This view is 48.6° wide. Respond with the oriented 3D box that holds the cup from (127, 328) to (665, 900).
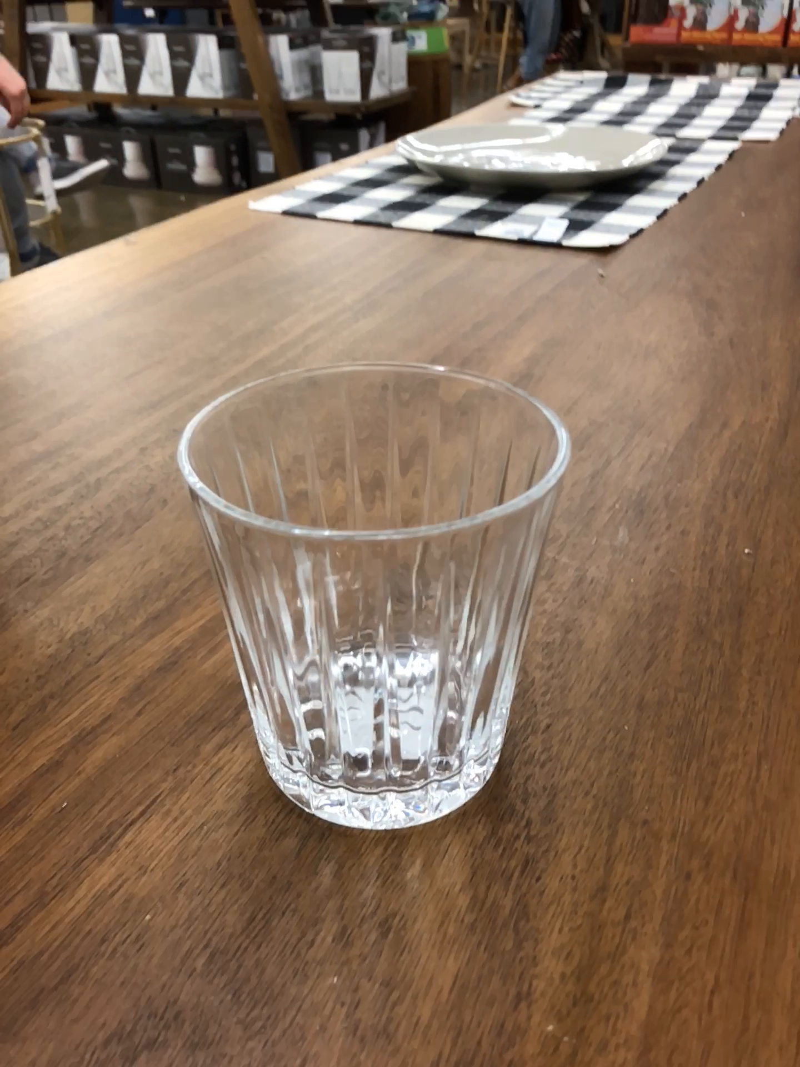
[{"bbox_3d":[-0.001,0.012,0.237,0.089,0.093,0.094,-1,31,1],"label":"cup"}]
